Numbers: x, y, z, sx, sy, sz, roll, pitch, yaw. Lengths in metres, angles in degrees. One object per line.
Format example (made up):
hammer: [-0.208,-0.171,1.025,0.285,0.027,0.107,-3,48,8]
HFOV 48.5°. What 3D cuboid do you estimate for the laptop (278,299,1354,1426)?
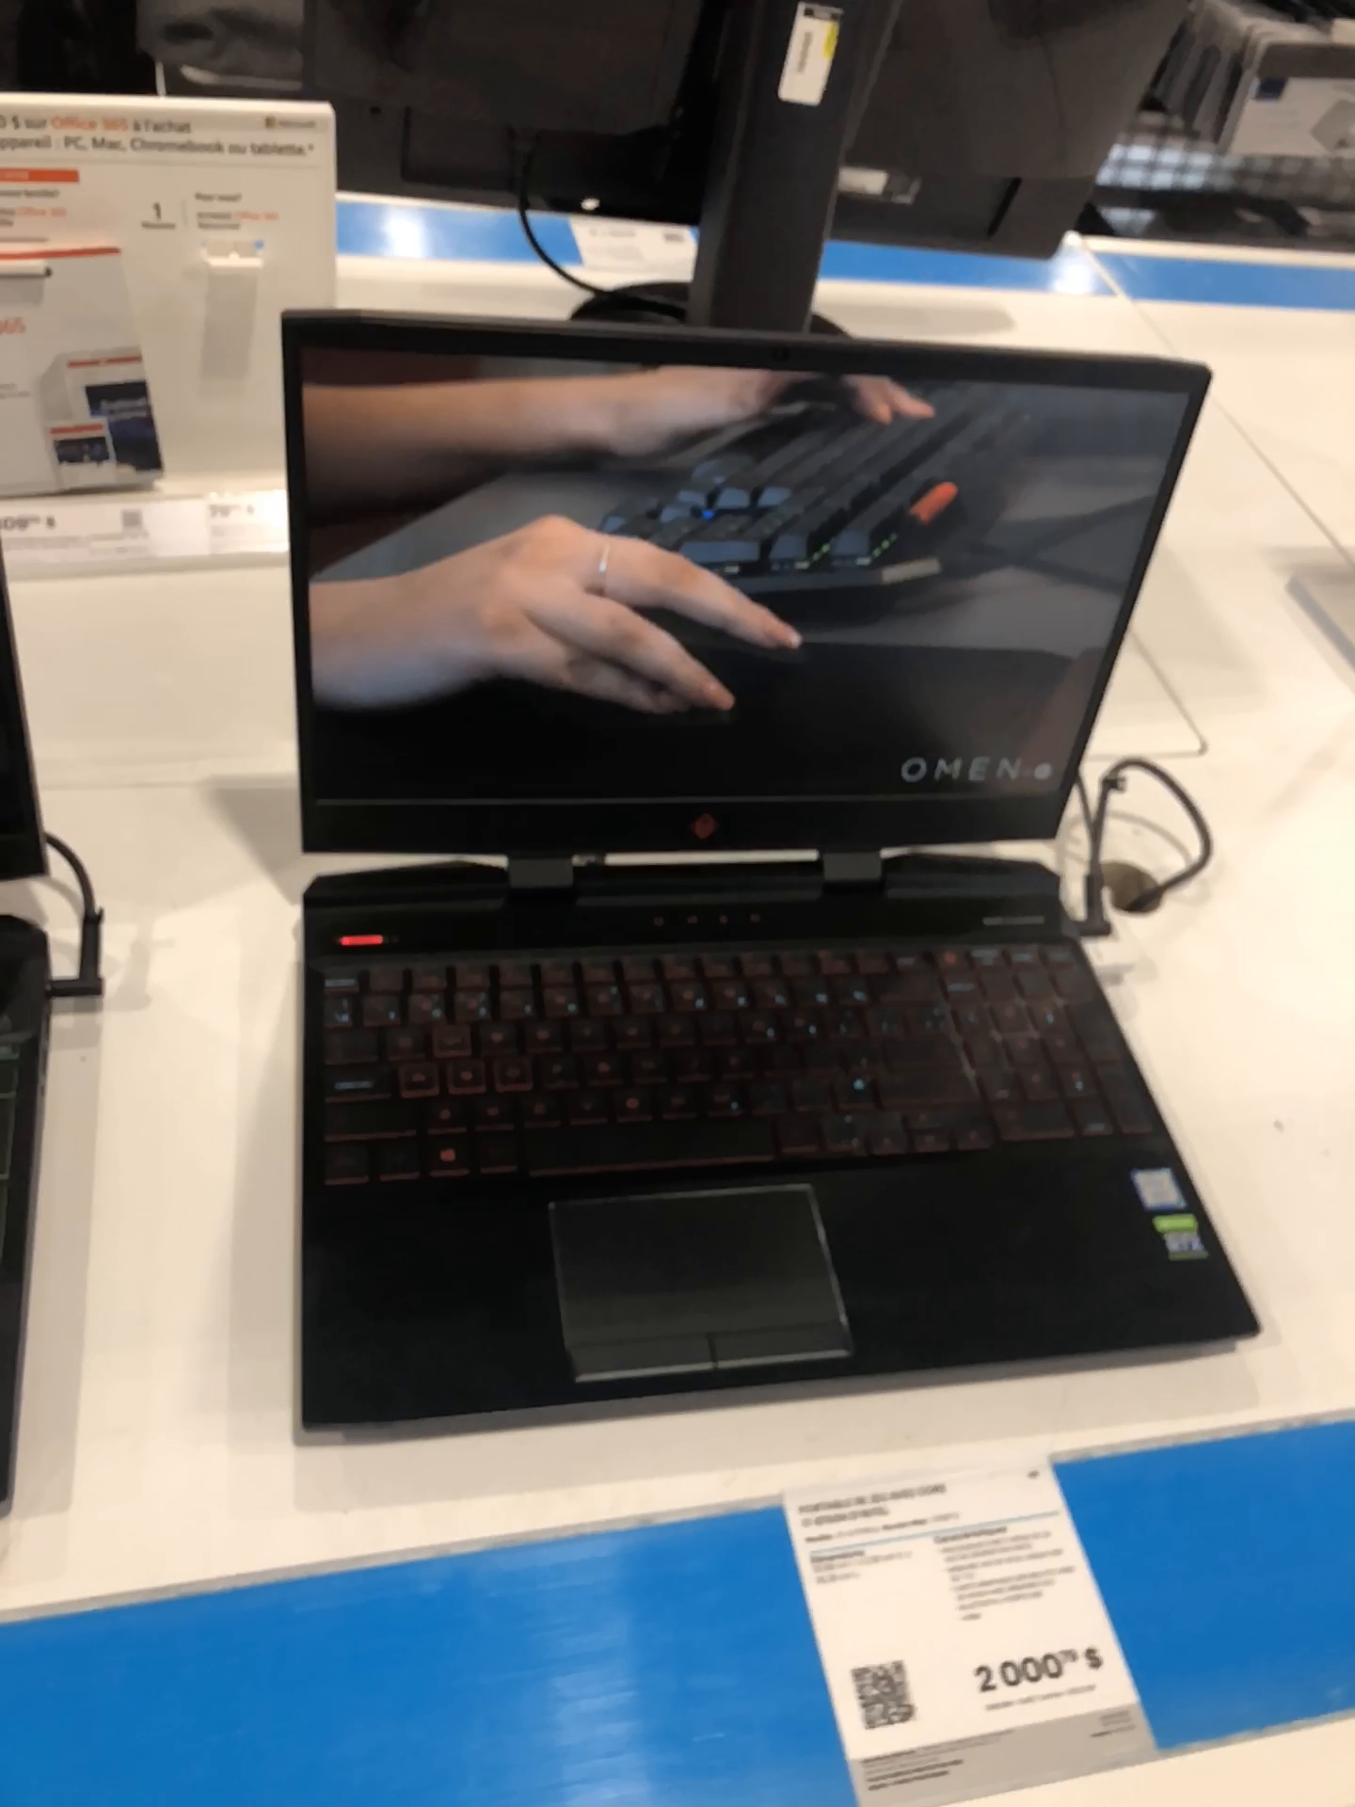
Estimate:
laptop: [0.043,-0.024,0.557,0.356,0.239,0.294,-2,48,-13]
